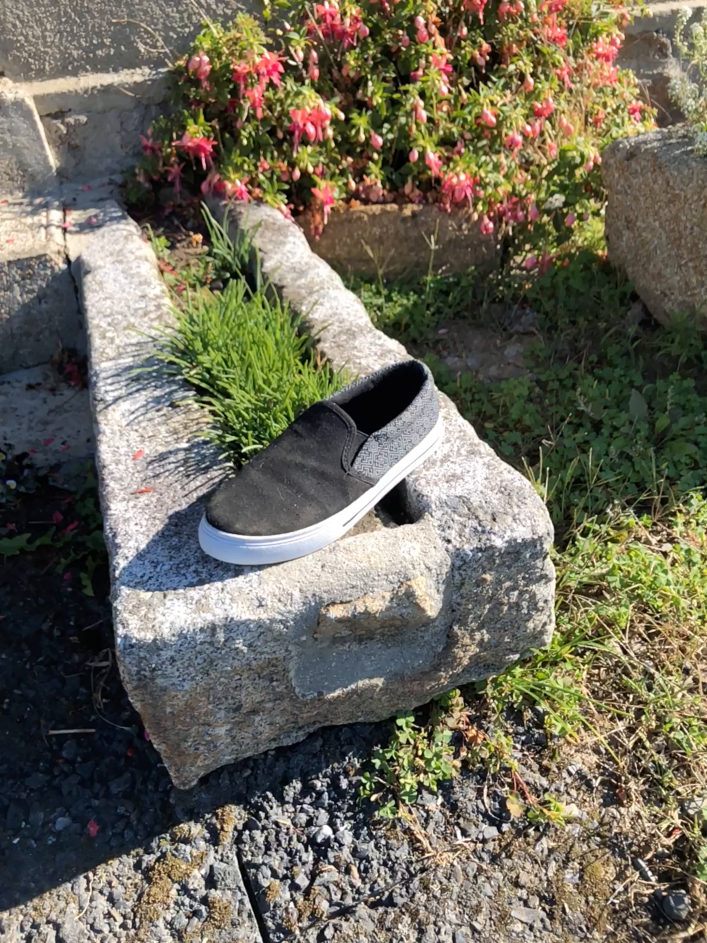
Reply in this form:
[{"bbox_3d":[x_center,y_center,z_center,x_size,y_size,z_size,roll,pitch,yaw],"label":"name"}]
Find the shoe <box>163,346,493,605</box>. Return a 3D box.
[{"bbox_3d":[-0.011,-0.009,0.646,0.261,0.080,0.100,-29,41,-31],"label":"shoe"}]
